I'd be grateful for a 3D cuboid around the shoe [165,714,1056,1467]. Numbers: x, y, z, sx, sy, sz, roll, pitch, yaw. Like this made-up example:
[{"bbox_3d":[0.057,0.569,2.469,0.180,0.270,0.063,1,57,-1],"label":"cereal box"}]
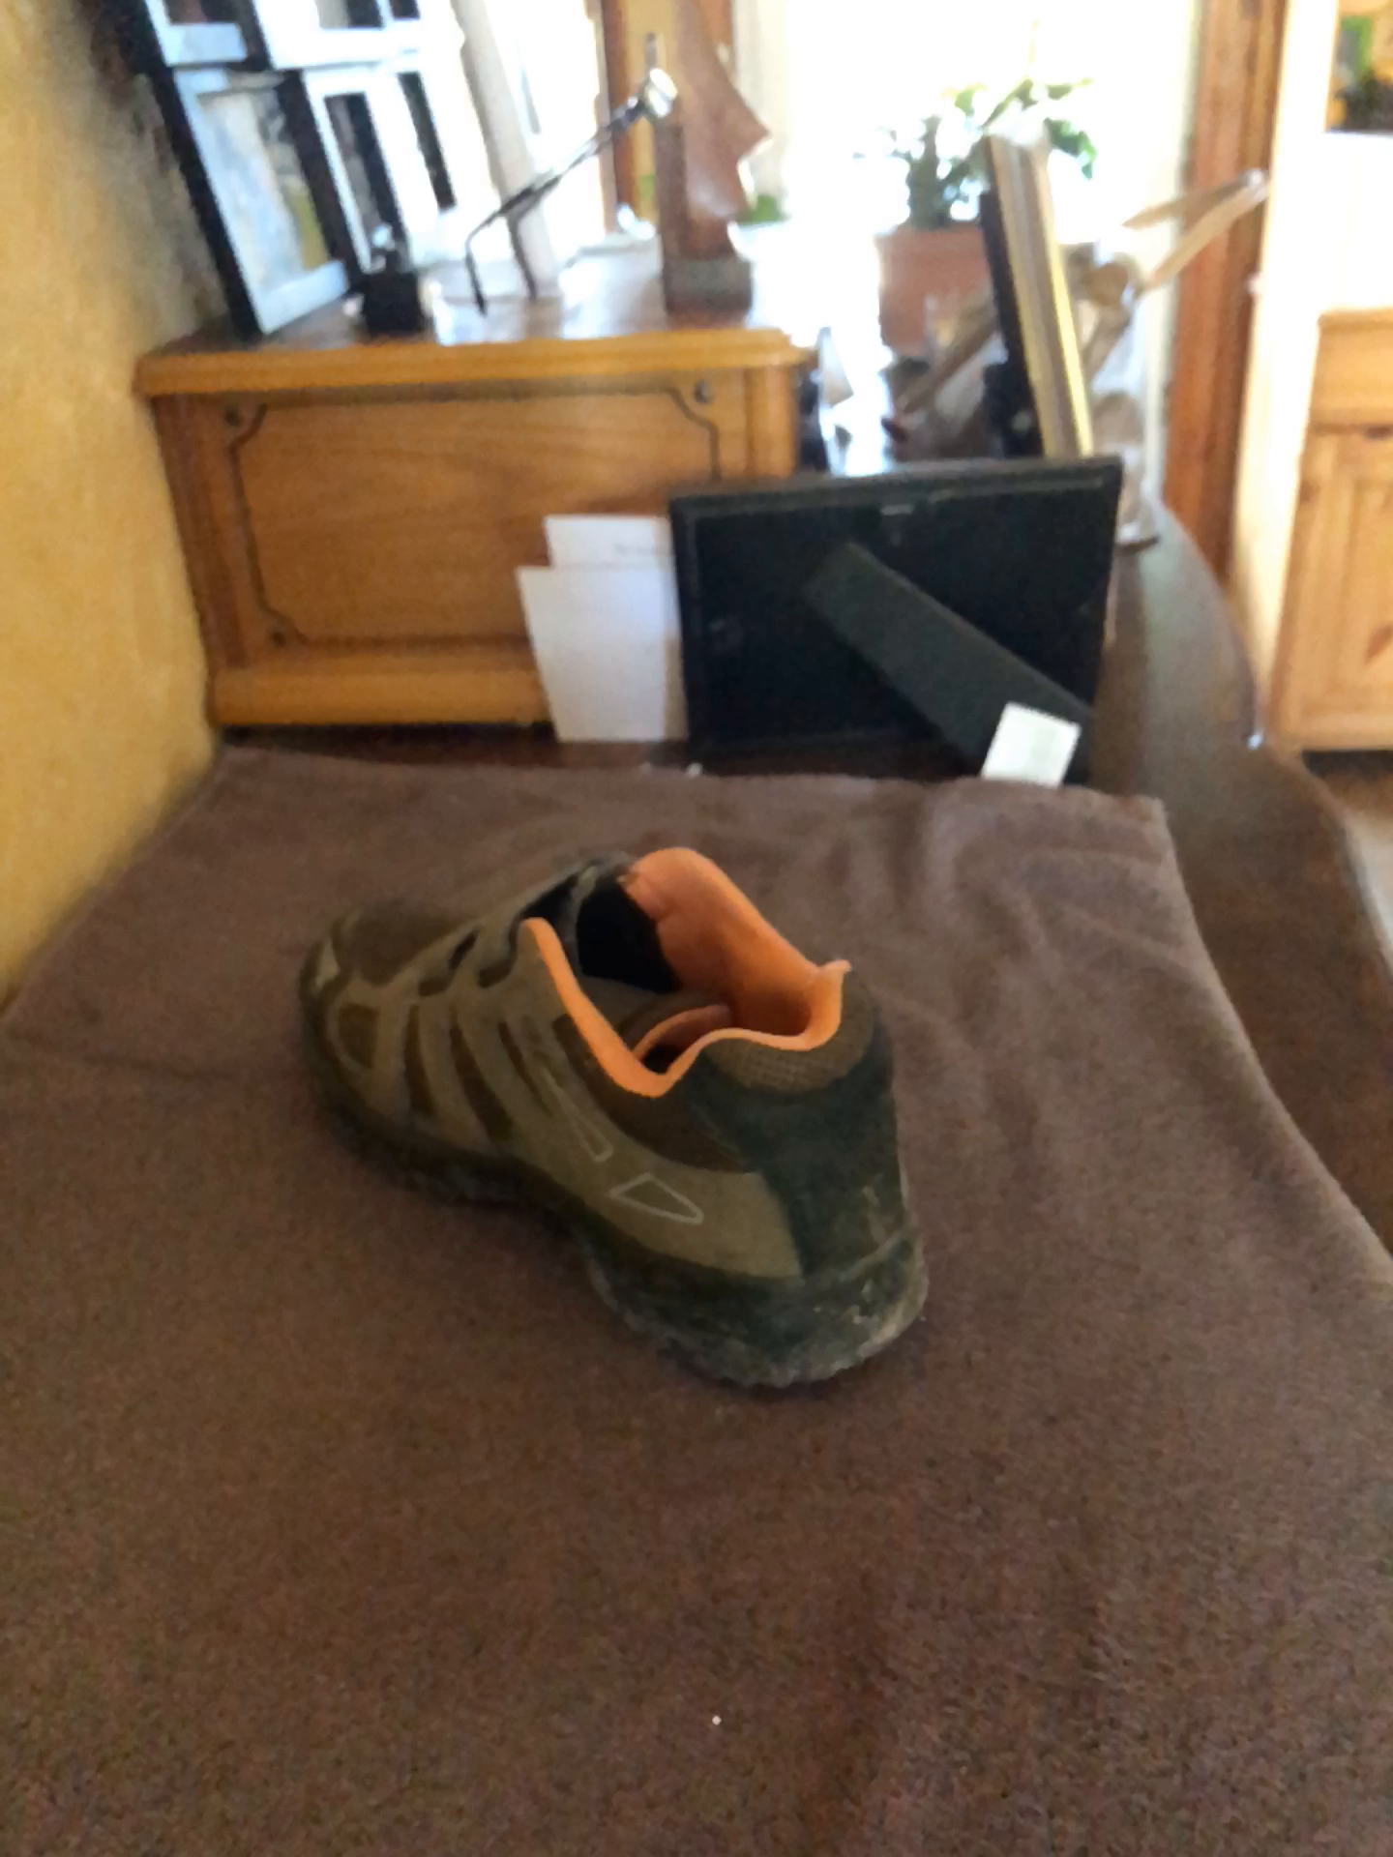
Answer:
[{"bbox_3d":[-0.038,0.027,0.482,0.270,0.099,0.111,24,40,39],"label":"shoe"}]
